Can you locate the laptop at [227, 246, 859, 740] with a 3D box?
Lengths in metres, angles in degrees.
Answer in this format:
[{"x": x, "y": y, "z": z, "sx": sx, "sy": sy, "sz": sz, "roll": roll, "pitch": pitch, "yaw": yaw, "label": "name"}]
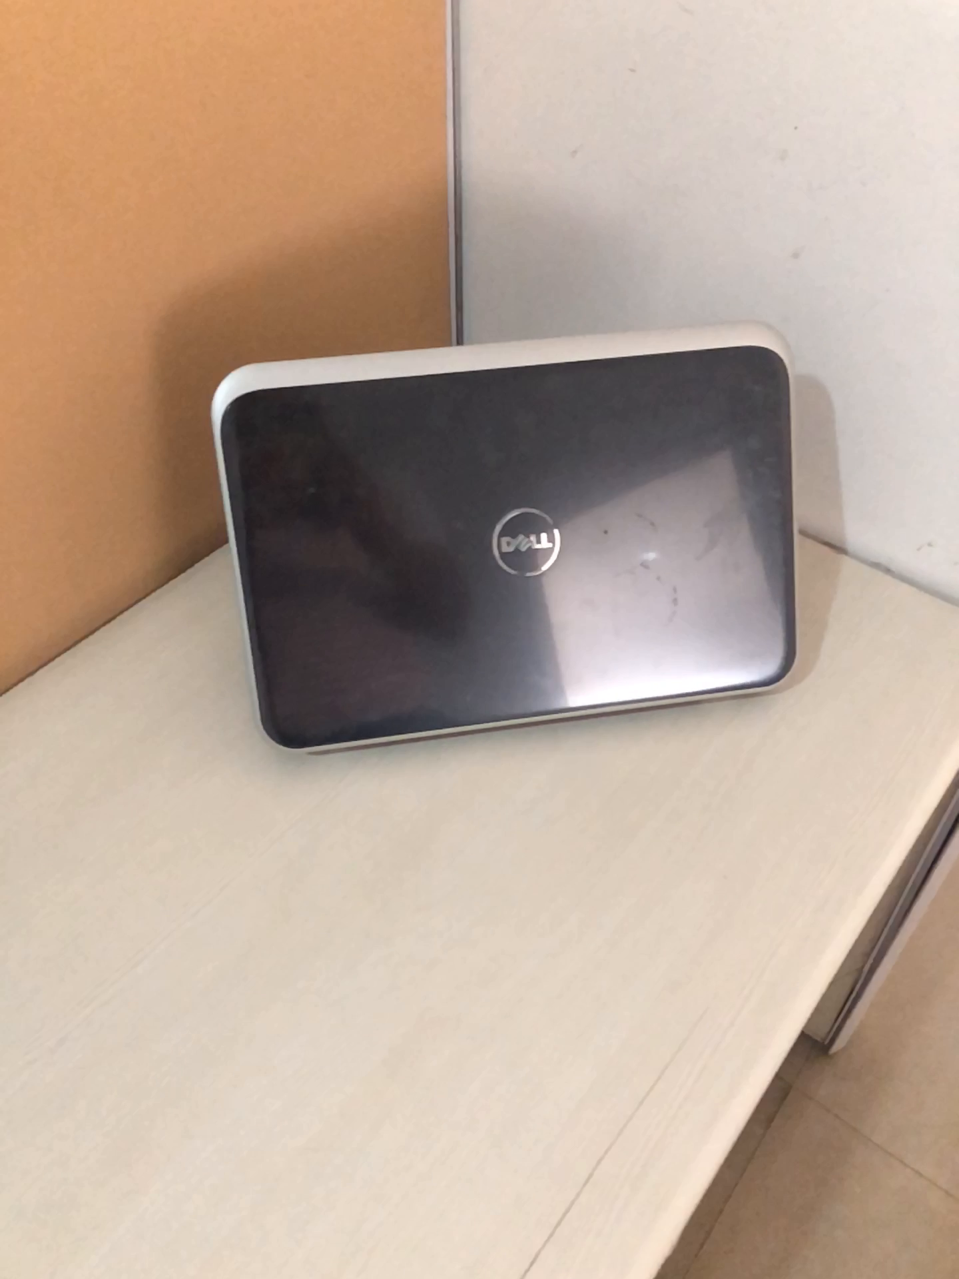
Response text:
[{"x": 0.024, "y": -0.109, "z": 0.714, "sx": 0.347, "sy": 0.192, "sz": 0.241, "roll": -6, "pitch": 46, "yaw": -8, "label": "laptop"}]
